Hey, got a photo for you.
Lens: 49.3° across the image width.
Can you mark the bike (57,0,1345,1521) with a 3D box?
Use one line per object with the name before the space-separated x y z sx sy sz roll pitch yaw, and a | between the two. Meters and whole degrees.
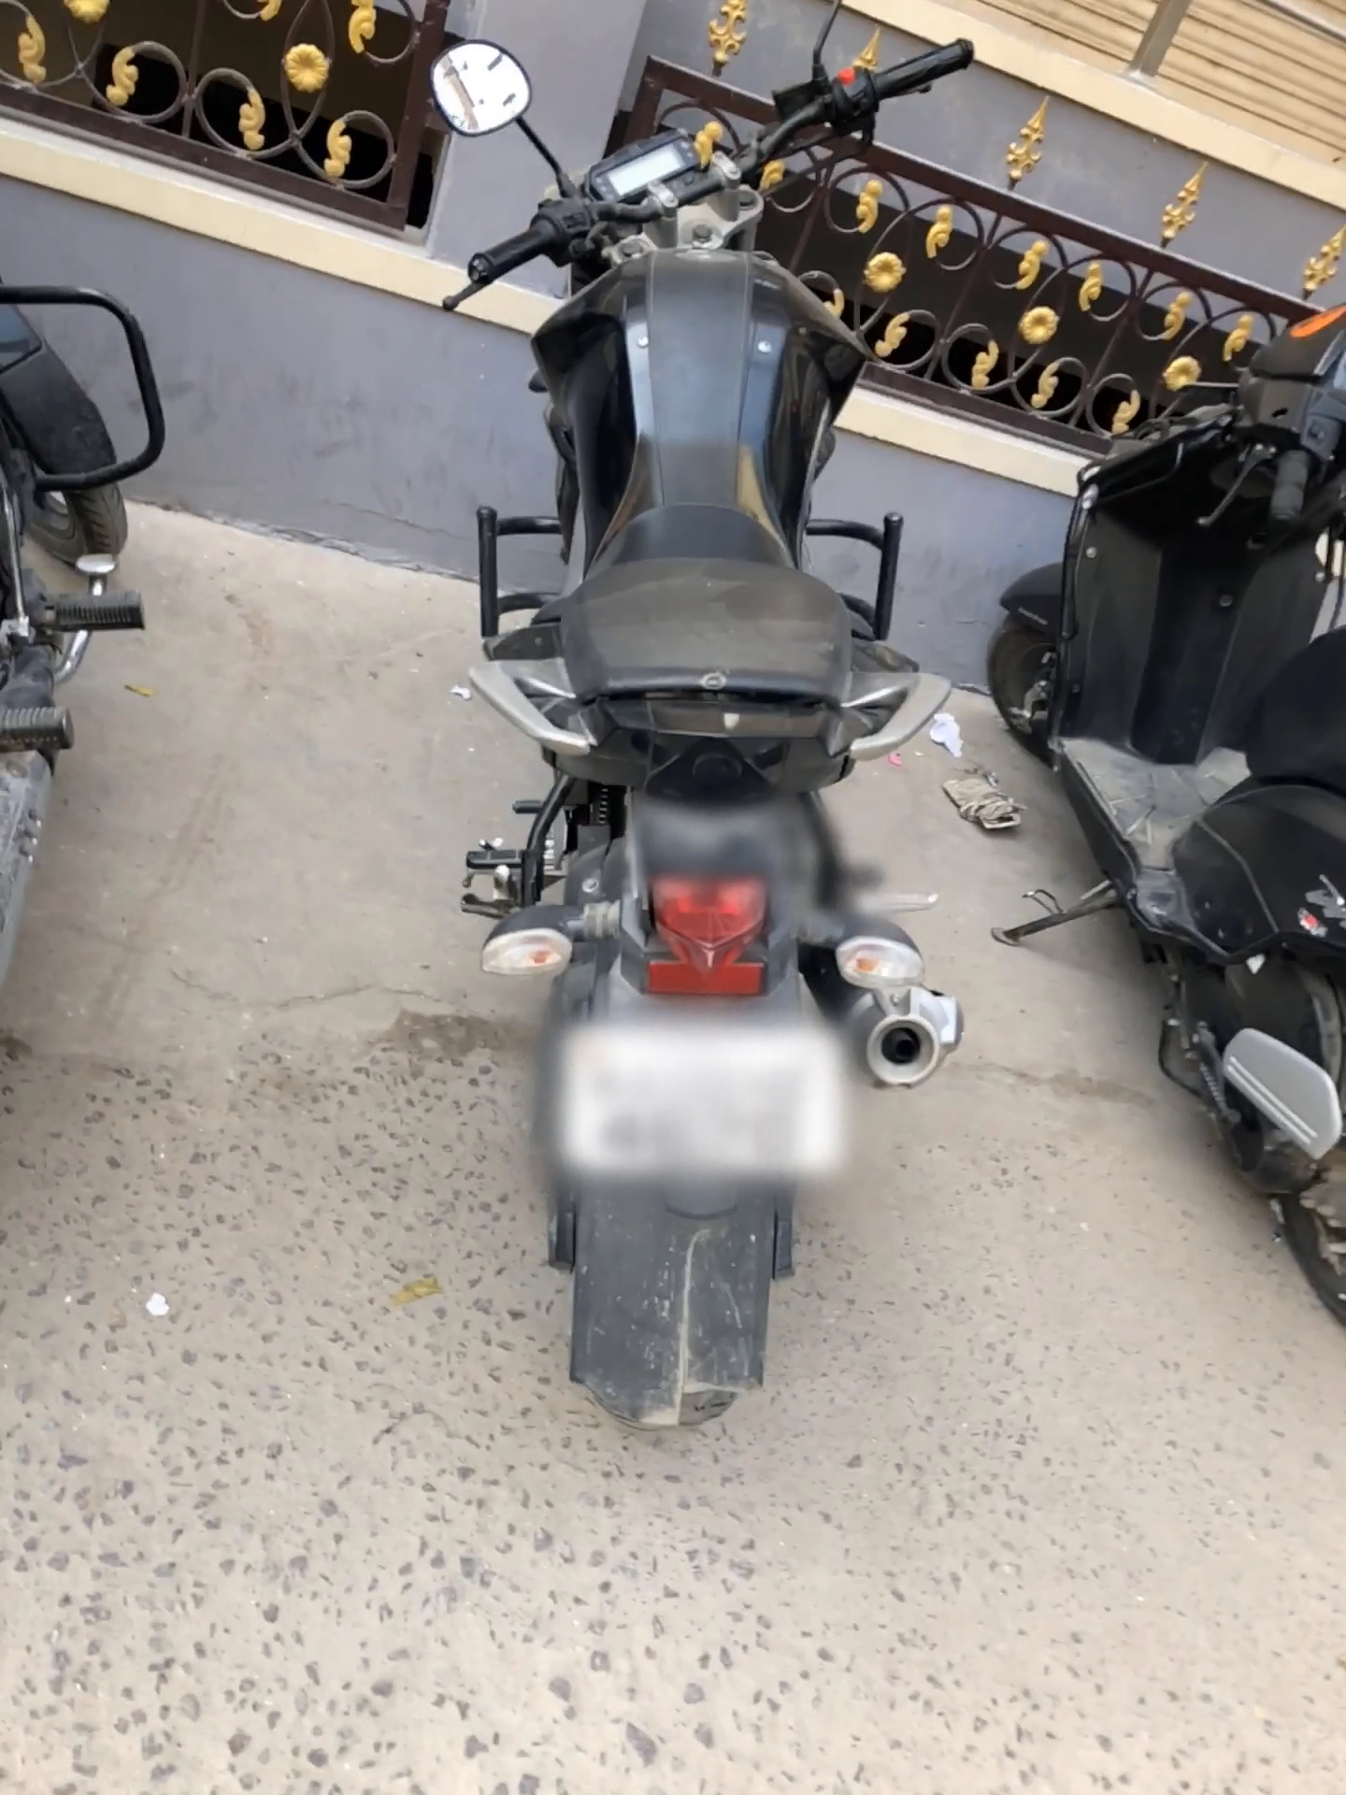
bike | -0.145 -0.472 1.768 0.693 1.196 1.765 12 37 -17
